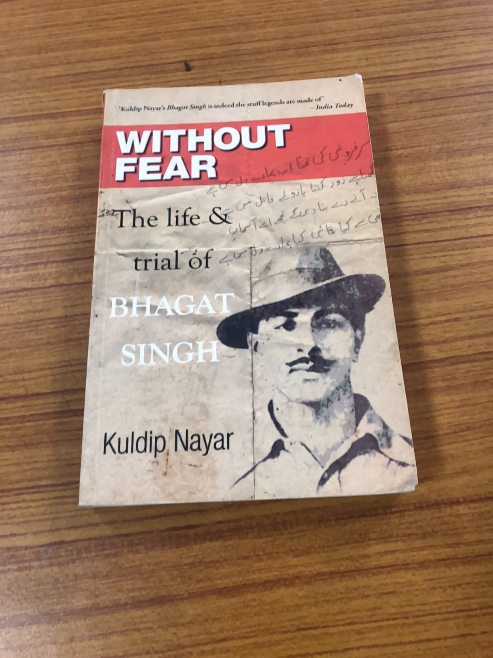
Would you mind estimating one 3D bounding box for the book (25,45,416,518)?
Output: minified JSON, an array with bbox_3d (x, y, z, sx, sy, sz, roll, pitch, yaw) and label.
[{"bbox_3d":[-0.012,-0.029,0.246,0.140,0.030,0.210,-2,71,2],"label":"book"}]
